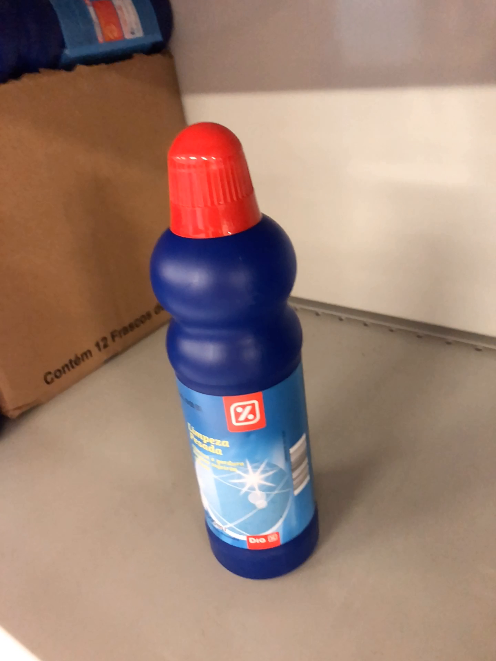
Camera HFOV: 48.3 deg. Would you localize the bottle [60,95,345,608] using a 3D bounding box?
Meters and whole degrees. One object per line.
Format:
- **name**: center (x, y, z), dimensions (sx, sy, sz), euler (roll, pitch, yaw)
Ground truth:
- **bottle**: center (-0.005, 0.021, 0.272), dimensions (0.070, 0.238, 0.070), euler (-7, 30, 4)
